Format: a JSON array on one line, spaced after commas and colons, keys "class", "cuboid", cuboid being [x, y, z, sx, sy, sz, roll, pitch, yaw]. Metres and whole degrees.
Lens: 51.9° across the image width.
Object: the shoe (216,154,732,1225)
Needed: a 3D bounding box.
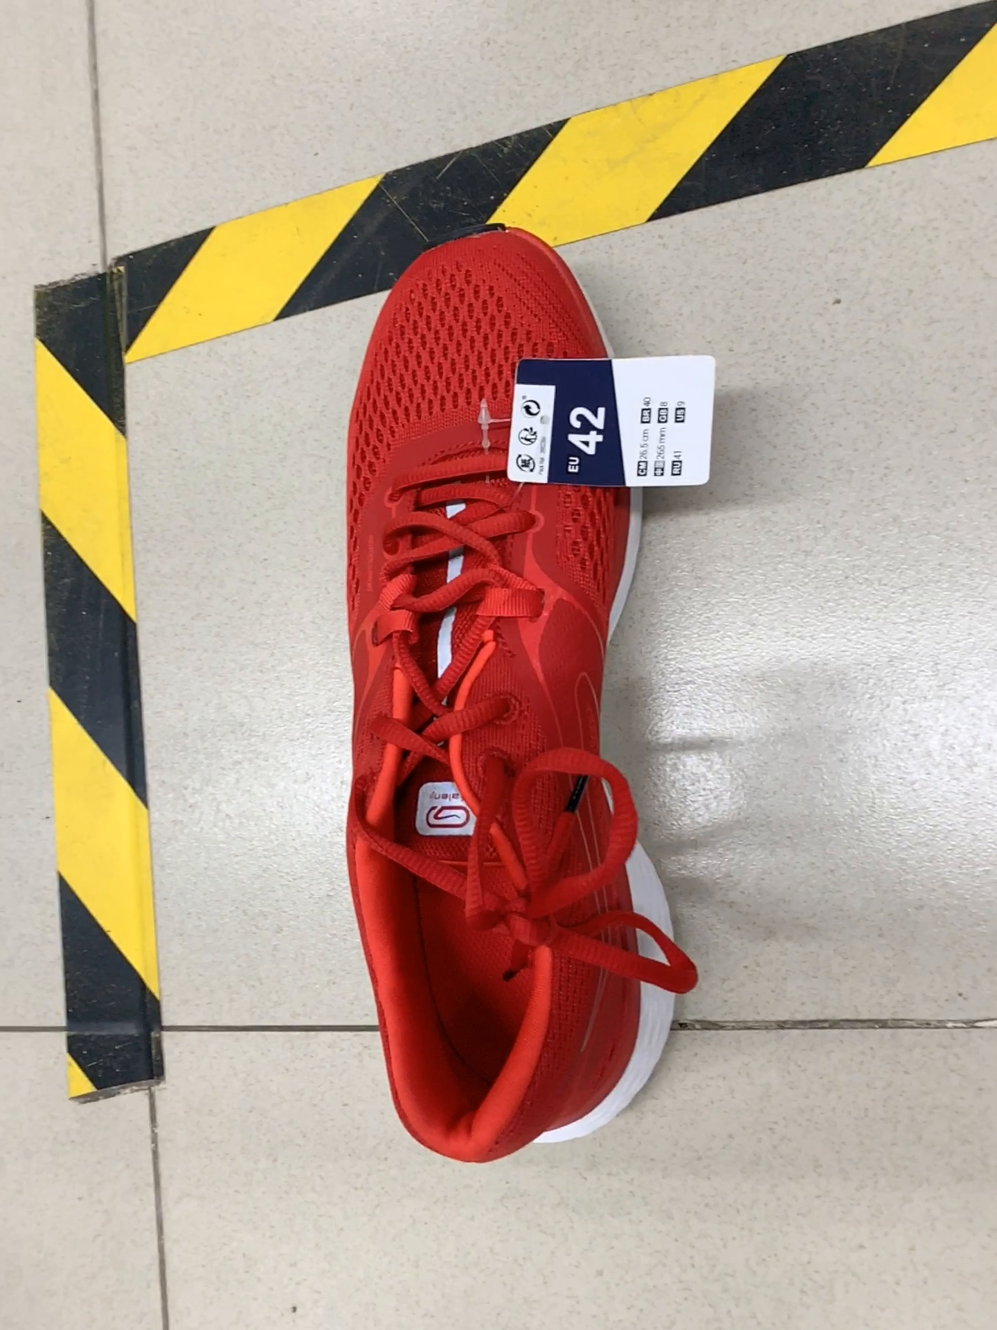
[{"class": "shoe", "cuboid": [-0.005, 0.009, 0.328, 0.120, 0.090, 0.280, -6, 85, 18]}]
